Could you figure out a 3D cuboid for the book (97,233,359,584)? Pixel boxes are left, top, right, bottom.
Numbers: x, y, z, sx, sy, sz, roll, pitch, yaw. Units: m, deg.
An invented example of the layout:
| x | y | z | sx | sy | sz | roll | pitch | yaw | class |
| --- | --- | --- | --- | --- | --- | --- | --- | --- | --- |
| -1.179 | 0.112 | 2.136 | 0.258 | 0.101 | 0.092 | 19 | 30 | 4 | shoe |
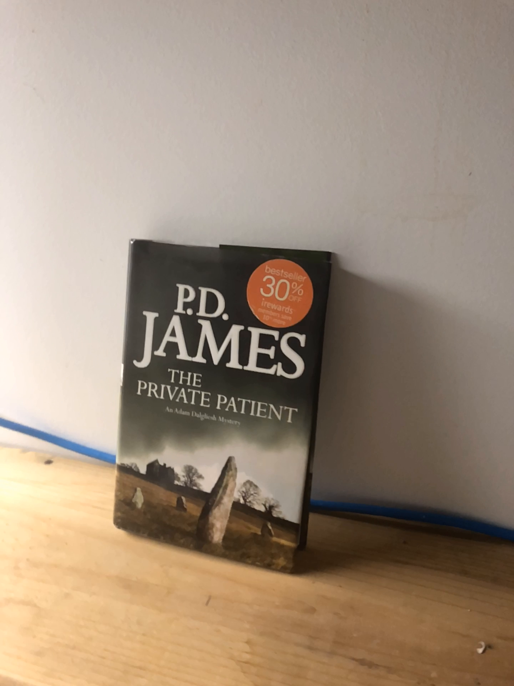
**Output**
| x | y | z | sx | sy | sz | roll | pitch | yaw | class |
| --- | --- | --- | --- | --- | --- | --- | --- | --- | --- |
| -0.029 | 0.040 | 0.434 | 0.180 | 0.230 | 0.040 | 8 | 8 | 21 | book |
